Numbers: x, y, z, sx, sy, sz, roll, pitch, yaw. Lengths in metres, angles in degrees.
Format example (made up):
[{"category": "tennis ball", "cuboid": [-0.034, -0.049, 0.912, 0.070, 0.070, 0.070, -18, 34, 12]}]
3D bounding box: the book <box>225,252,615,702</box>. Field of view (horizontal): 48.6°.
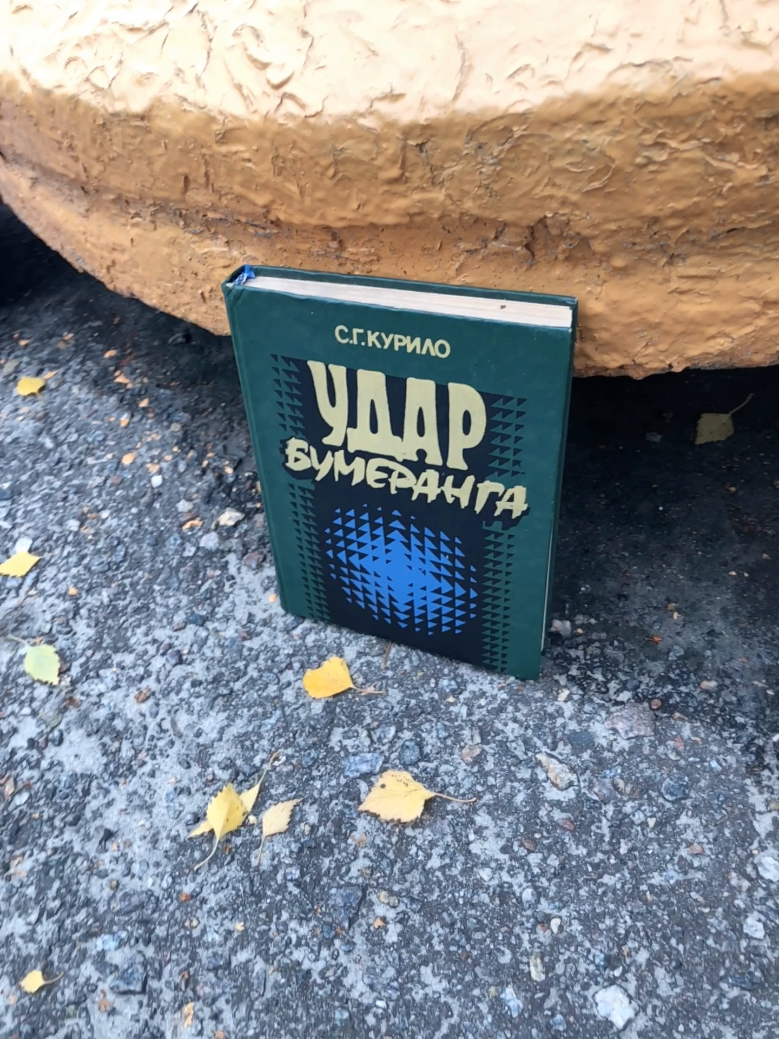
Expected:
[{"category": "book", "cuboid": [0.018, -0.011, 0.346, 0.131, 0.178, 0.029, 14, 47, 25]}]
